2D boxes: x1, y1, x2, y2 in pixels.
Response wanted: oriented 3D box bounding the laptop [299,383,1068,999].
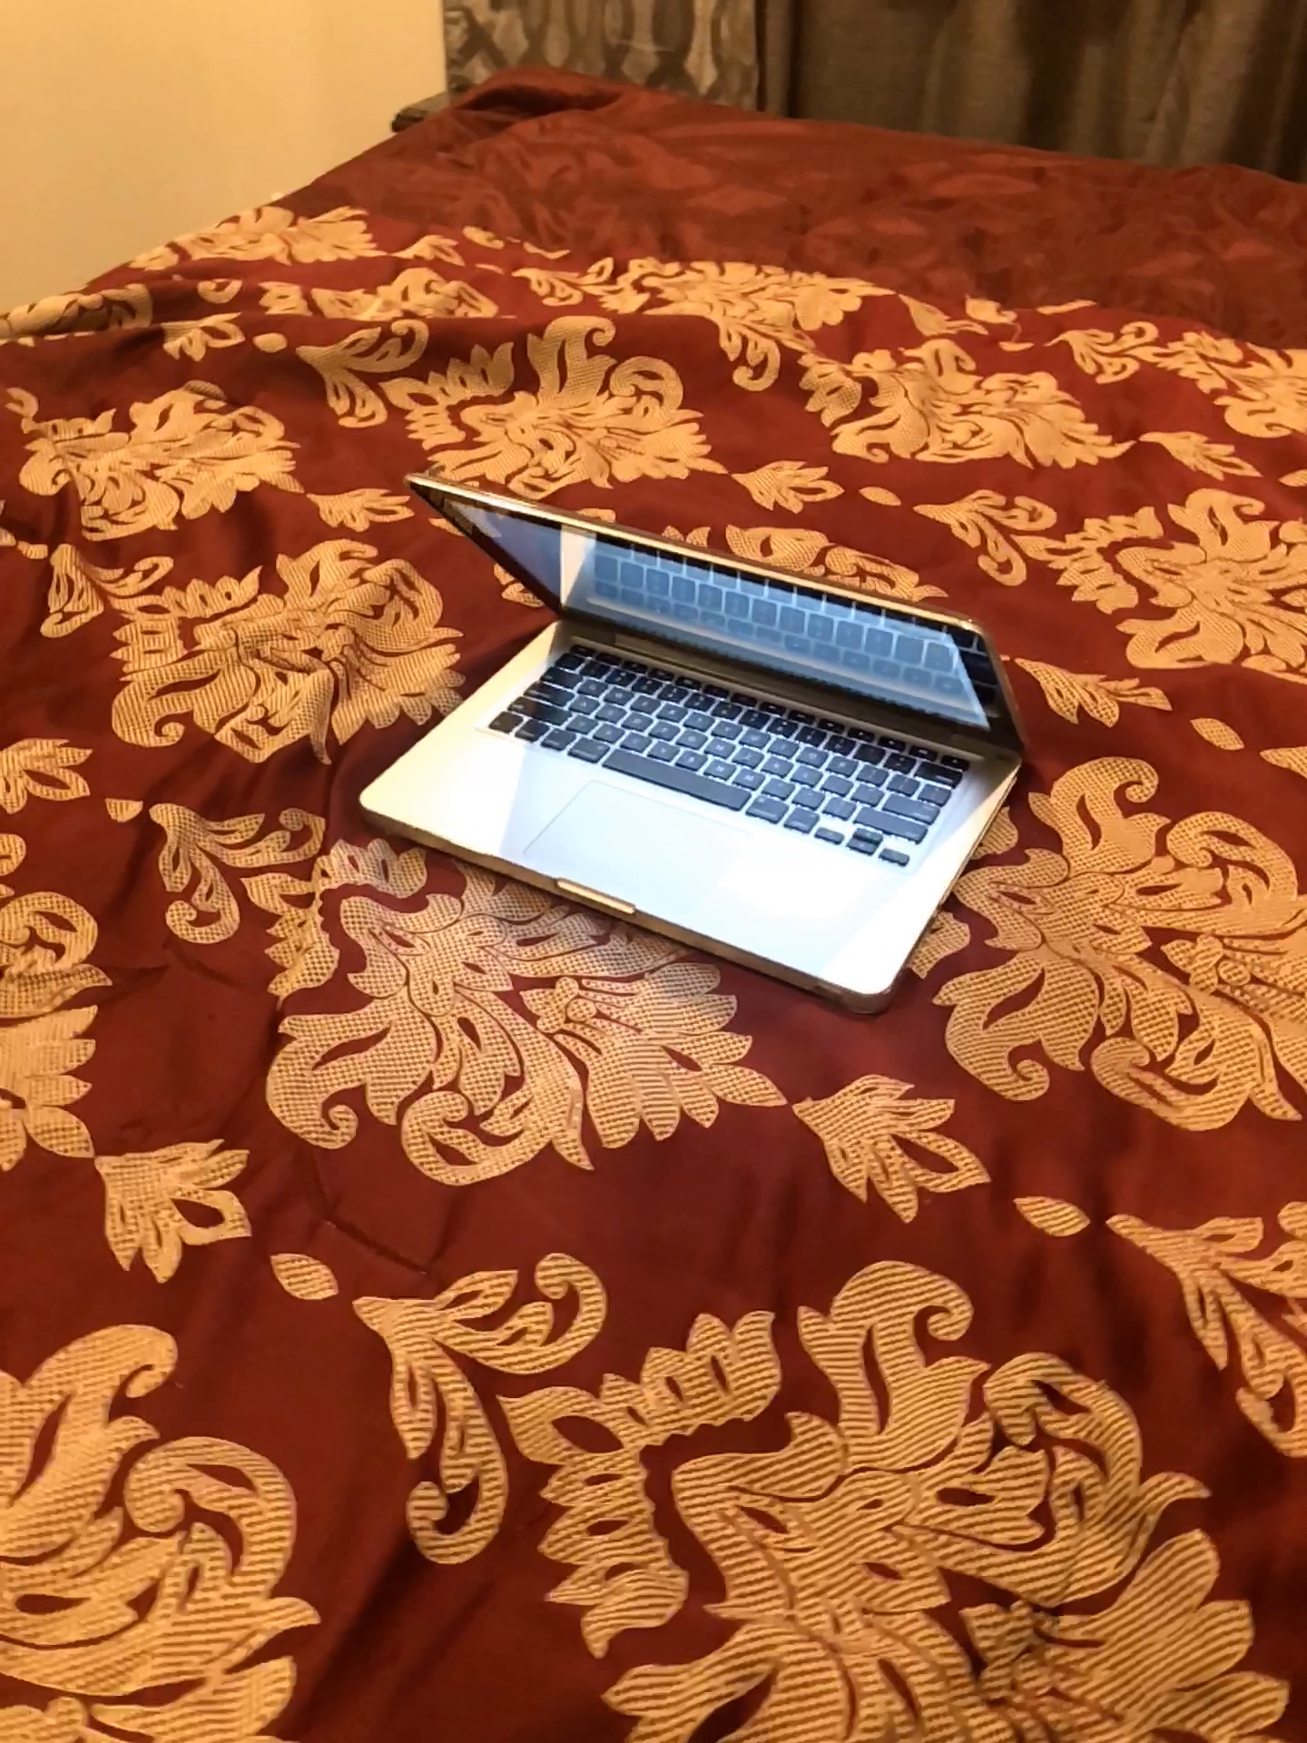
[{"bbox_3d":[0.020,-0.111,0.758,0.312,0.156,0.212,20,45,21],"label":"laptop"}]
